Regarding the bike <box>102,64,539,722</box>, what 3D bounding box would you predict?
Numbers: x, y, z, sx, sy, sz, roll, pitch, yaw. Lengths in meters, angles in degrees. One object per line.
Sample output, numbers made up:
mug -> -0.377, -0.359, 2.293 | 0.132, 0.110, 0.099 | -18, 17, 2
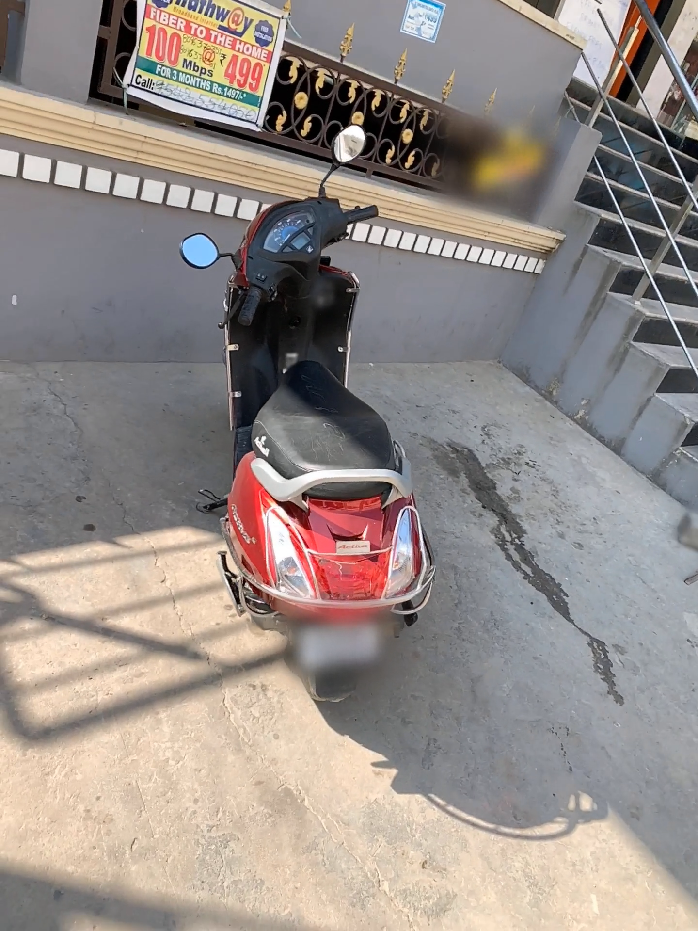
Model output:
bike -> -0.335, -0.360, 2.267 | 0.623, 1.163, 1.763 | 7, 33, -26
